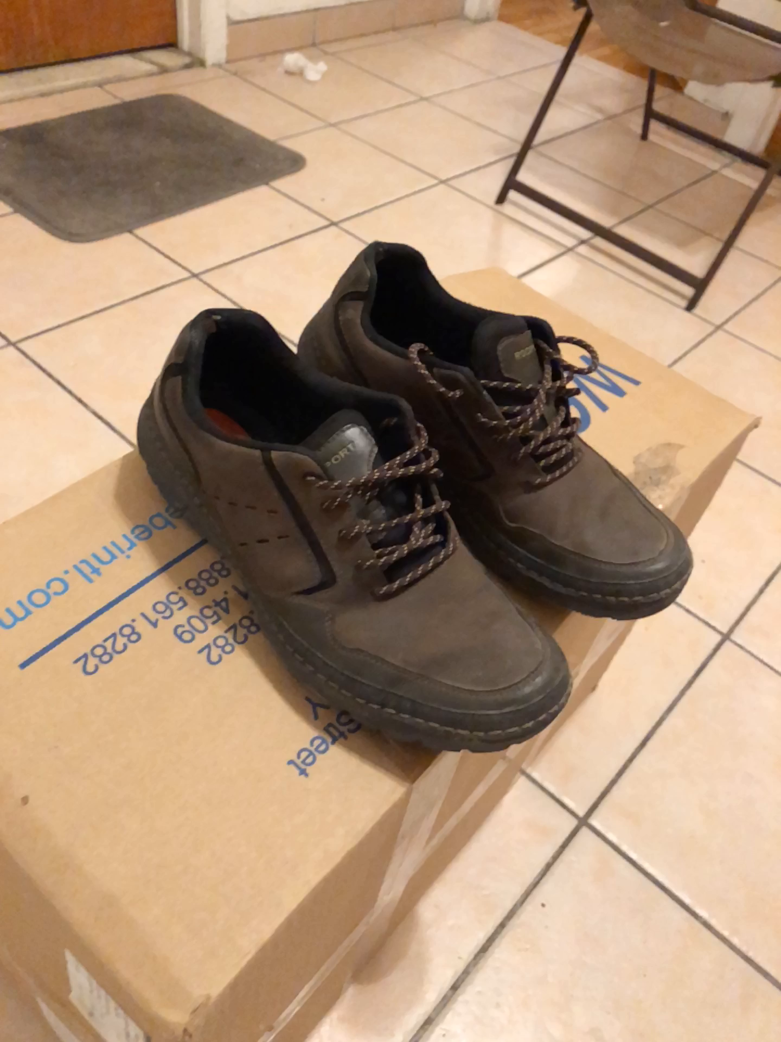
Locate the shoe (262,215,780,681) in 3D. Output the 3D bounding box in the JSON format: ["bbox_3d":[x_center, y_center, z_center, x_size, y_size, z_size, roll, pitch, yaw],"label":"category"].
[{"bbox_3d":[0.060,-0.060,0.523,0.111,0.109,0.291,-31,58,-35],"label":"shoe"}]

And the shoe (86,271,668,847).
[{"bbox_3d":[-0.024,0.002,0.440,0.111,0.109,0.281,-31,59,-35],"label":"shoe"}]
